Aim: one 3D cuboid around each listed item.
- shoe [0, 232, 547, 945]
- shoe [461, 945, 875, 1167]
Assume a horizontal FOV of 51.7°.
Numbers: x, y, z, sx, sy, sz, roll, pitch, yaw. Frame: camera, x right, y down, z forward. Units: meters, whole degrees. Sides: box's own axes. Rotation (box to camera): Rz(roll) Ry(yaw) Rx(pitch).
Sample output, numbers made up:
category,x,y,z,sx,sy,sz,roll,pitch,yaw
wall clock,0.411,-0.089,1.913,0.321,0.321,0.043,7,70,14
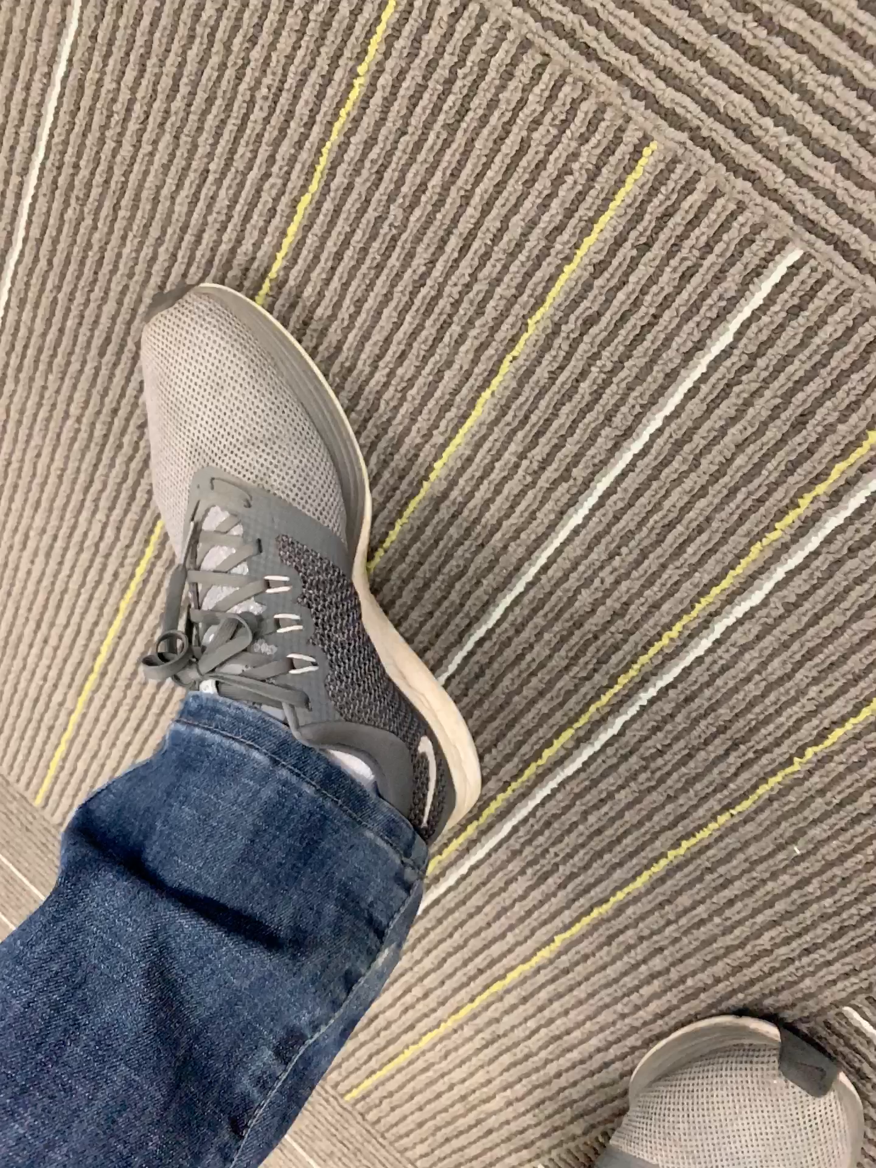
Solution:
category,x,y,z,sx,sy,sz,roll,pitch,yaw
shoe,-0.081,0.014,0.439,0.132,0.092,0.313,-17,104,34
shoe,0.133,0.352,0.494,0.128,0.092,0.301,30,124,14
